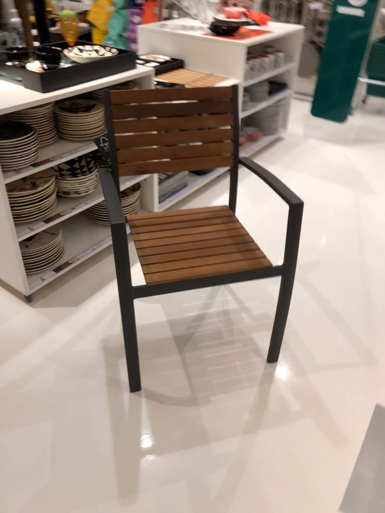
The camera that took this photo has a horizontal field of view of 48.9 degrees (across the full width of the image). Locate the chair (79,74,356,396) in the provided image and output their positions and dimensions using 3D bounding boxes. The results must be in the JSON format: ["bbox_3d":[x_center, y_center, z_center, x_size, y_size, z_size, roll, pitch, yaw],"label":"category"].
[{"bbox_3d":[0.009,-0.084,1.337,0.591,0.784,0.534,-8,37,-13],"label":"chair"}]
